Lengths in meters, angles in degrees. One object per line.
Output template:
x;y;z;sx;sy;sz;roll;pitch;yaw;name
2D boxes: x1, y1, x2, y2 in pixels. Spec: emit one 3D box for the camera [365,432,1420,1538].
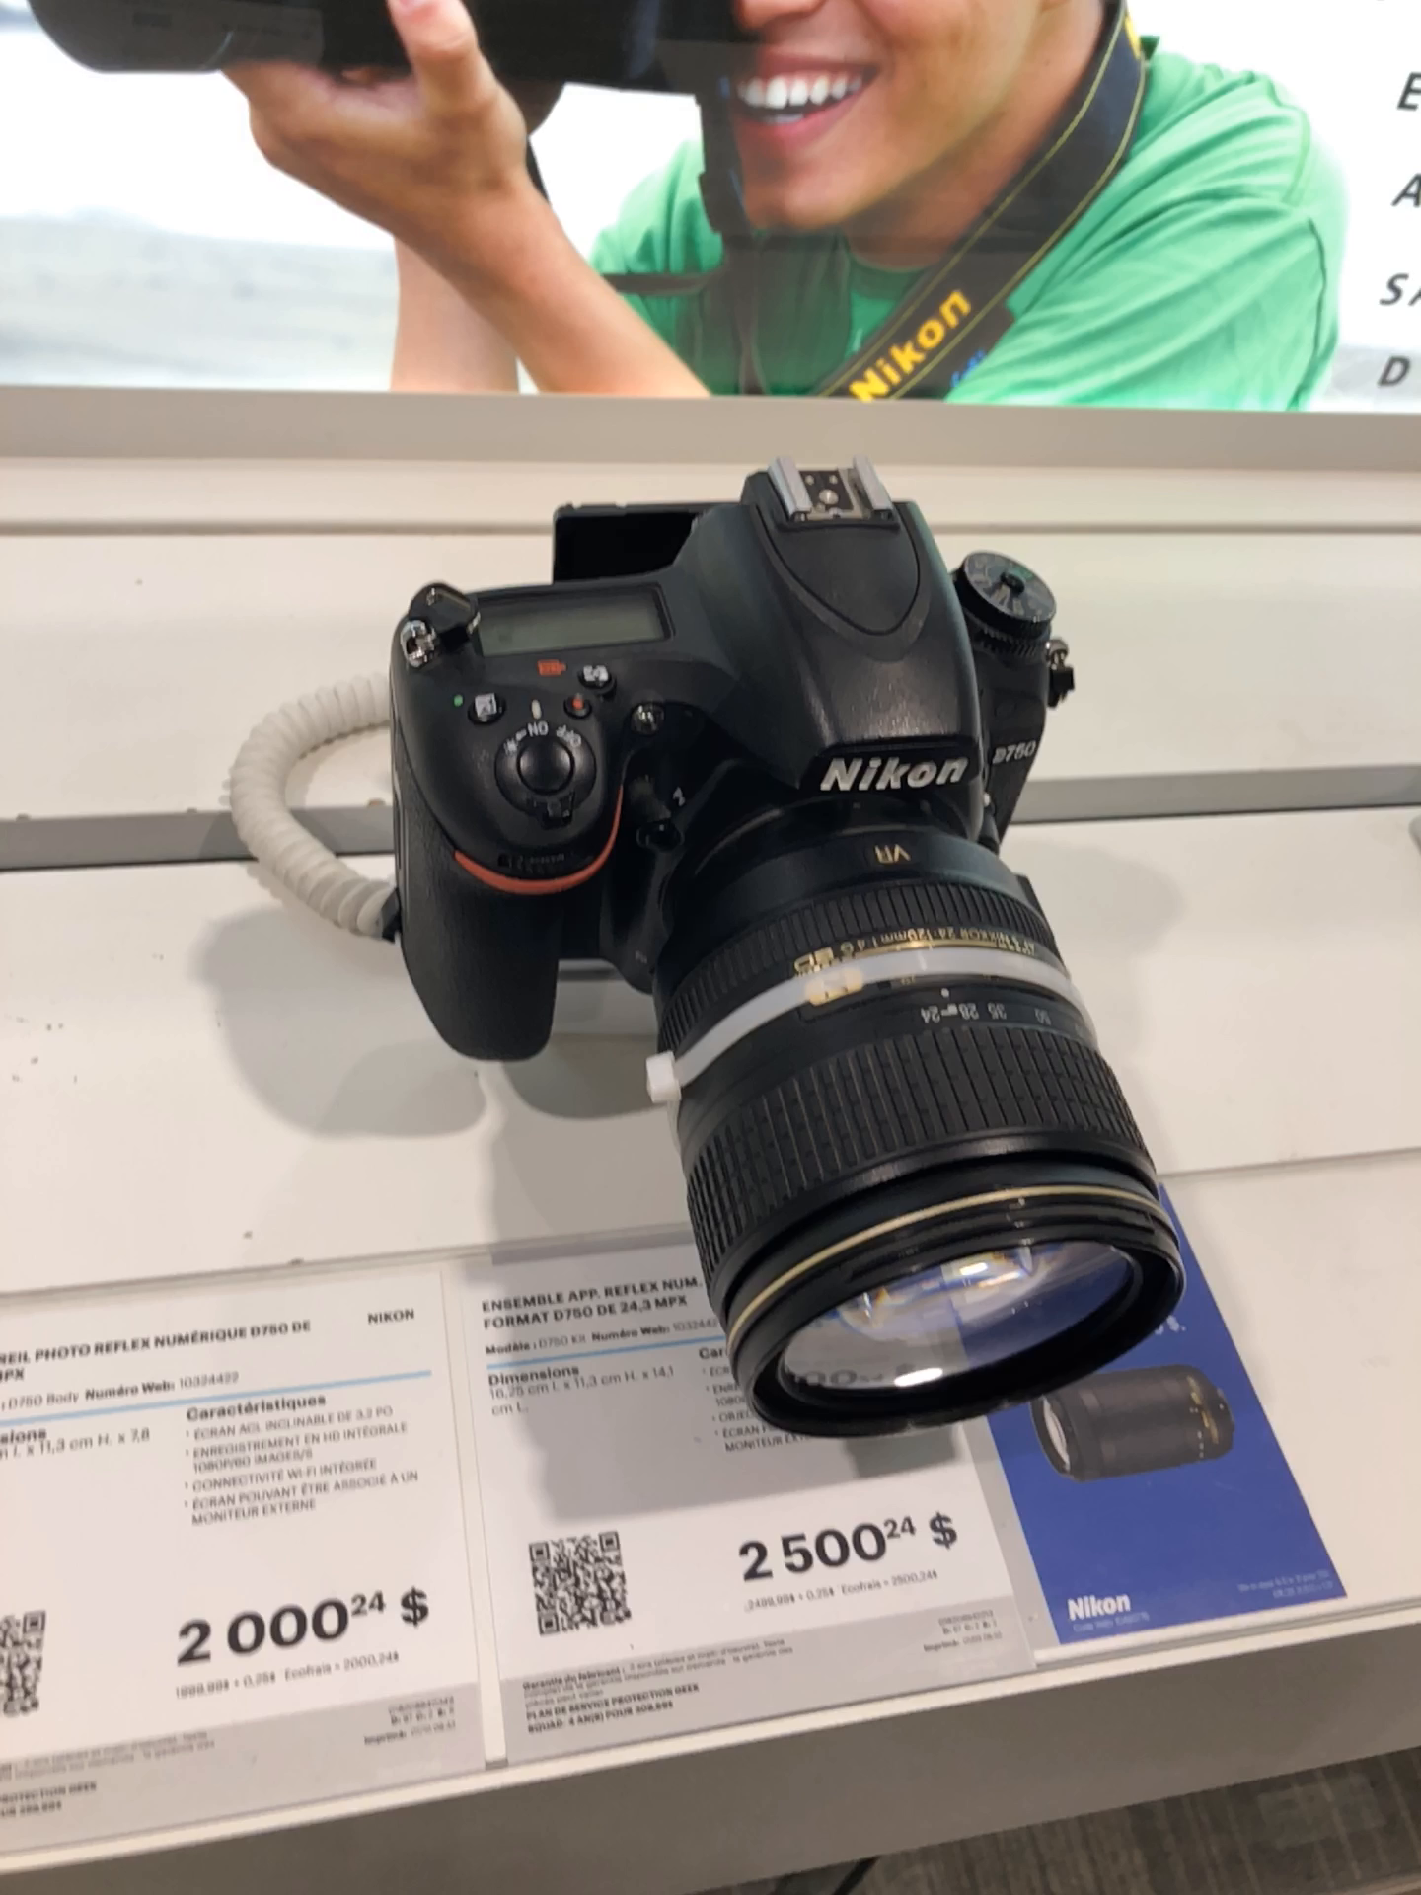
0.013;-0.007;0.308;0.138;0.099;0.184;-5;48;-15;camera
